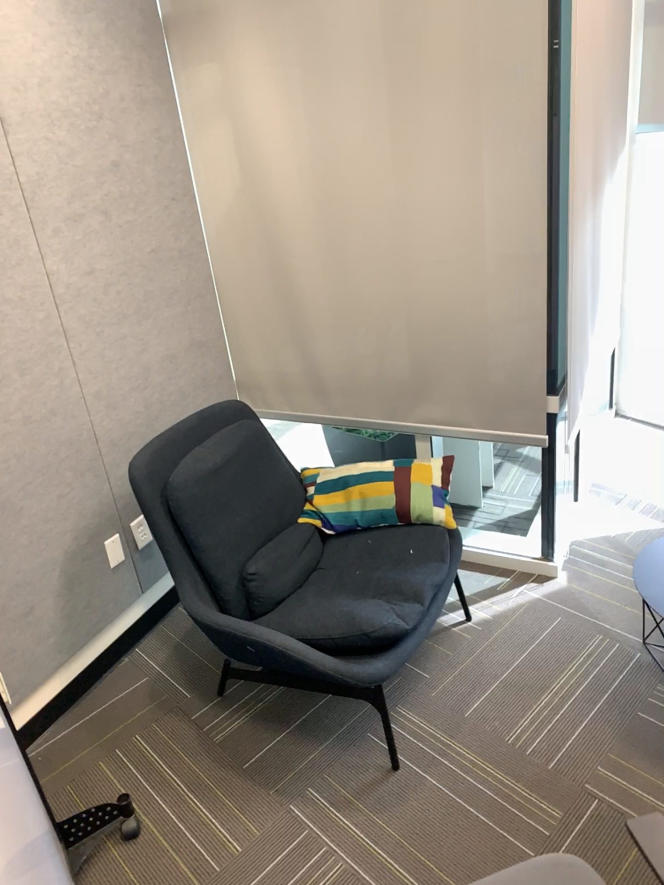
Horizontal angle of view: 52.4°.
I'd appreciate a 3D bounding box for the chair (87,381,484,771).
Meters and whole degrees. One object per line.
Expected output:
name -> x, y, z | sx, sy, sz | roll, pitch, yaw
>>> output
chair -> -0.110, 0.353, 2.361 | 1.004, 0.816, 0.792 | 10, 30, 33
